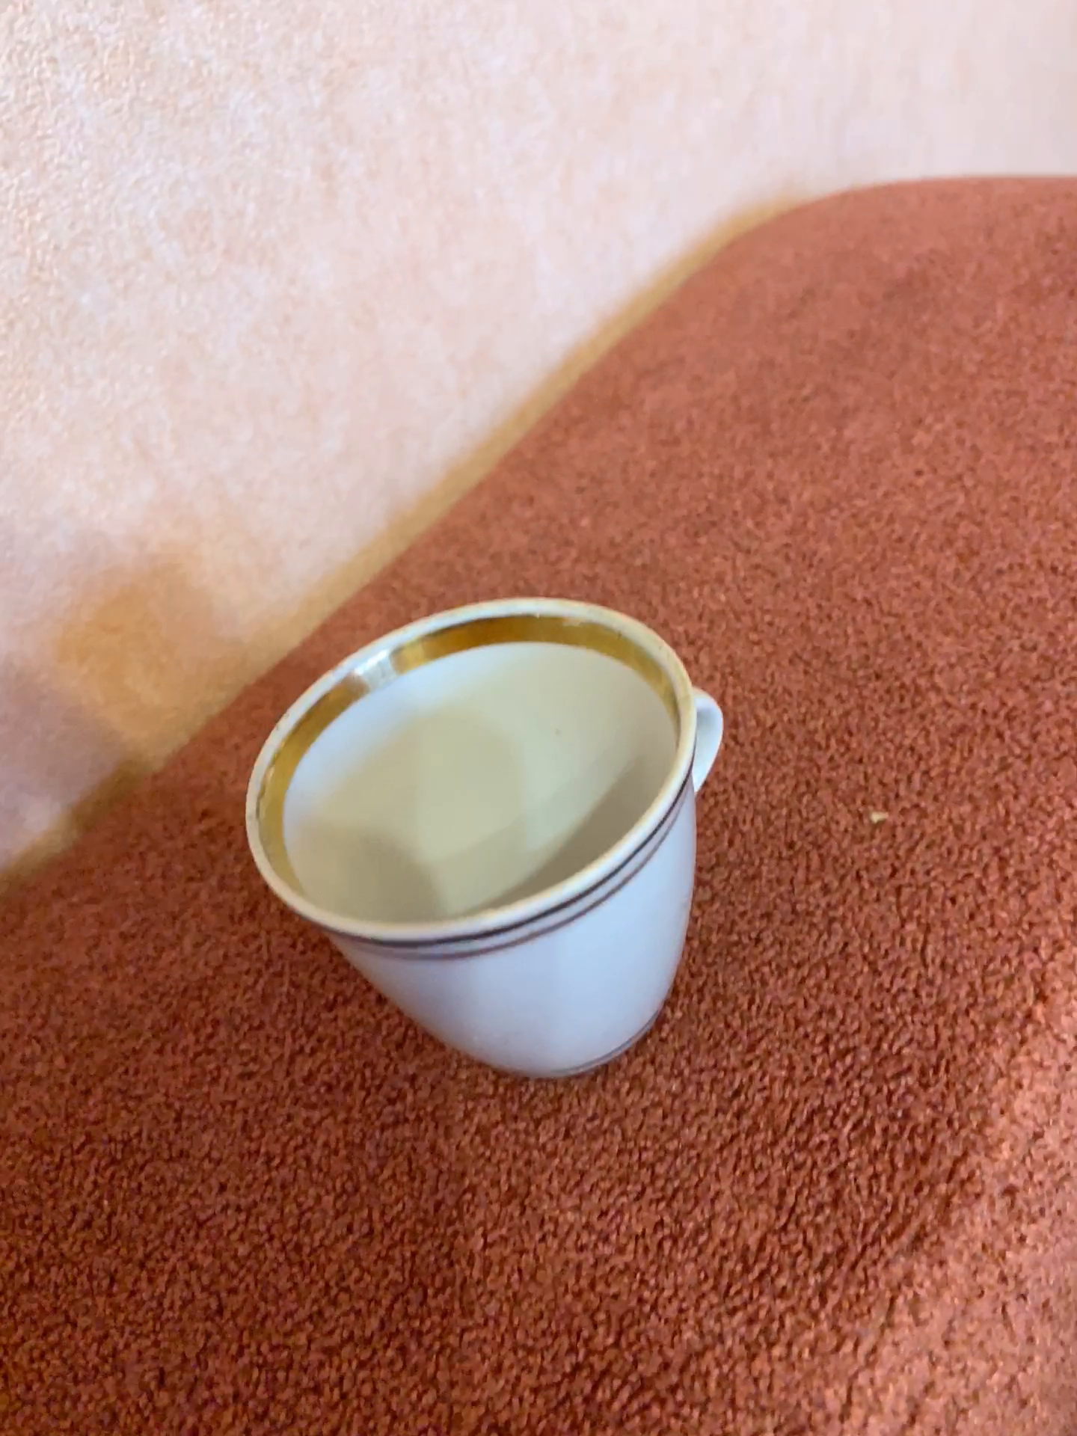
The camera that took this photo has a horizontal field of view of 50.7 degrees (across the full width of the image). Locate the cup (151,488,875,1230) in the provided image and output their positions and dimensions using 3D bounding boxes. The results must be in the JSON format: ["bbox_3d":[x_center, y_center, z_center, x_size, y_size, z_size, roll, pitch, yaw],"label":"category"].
[{"bbox_3d":[0.001,0.015,0.162,0.078,0.048,0.055,-40,47,-23],"label":"cup"}]
